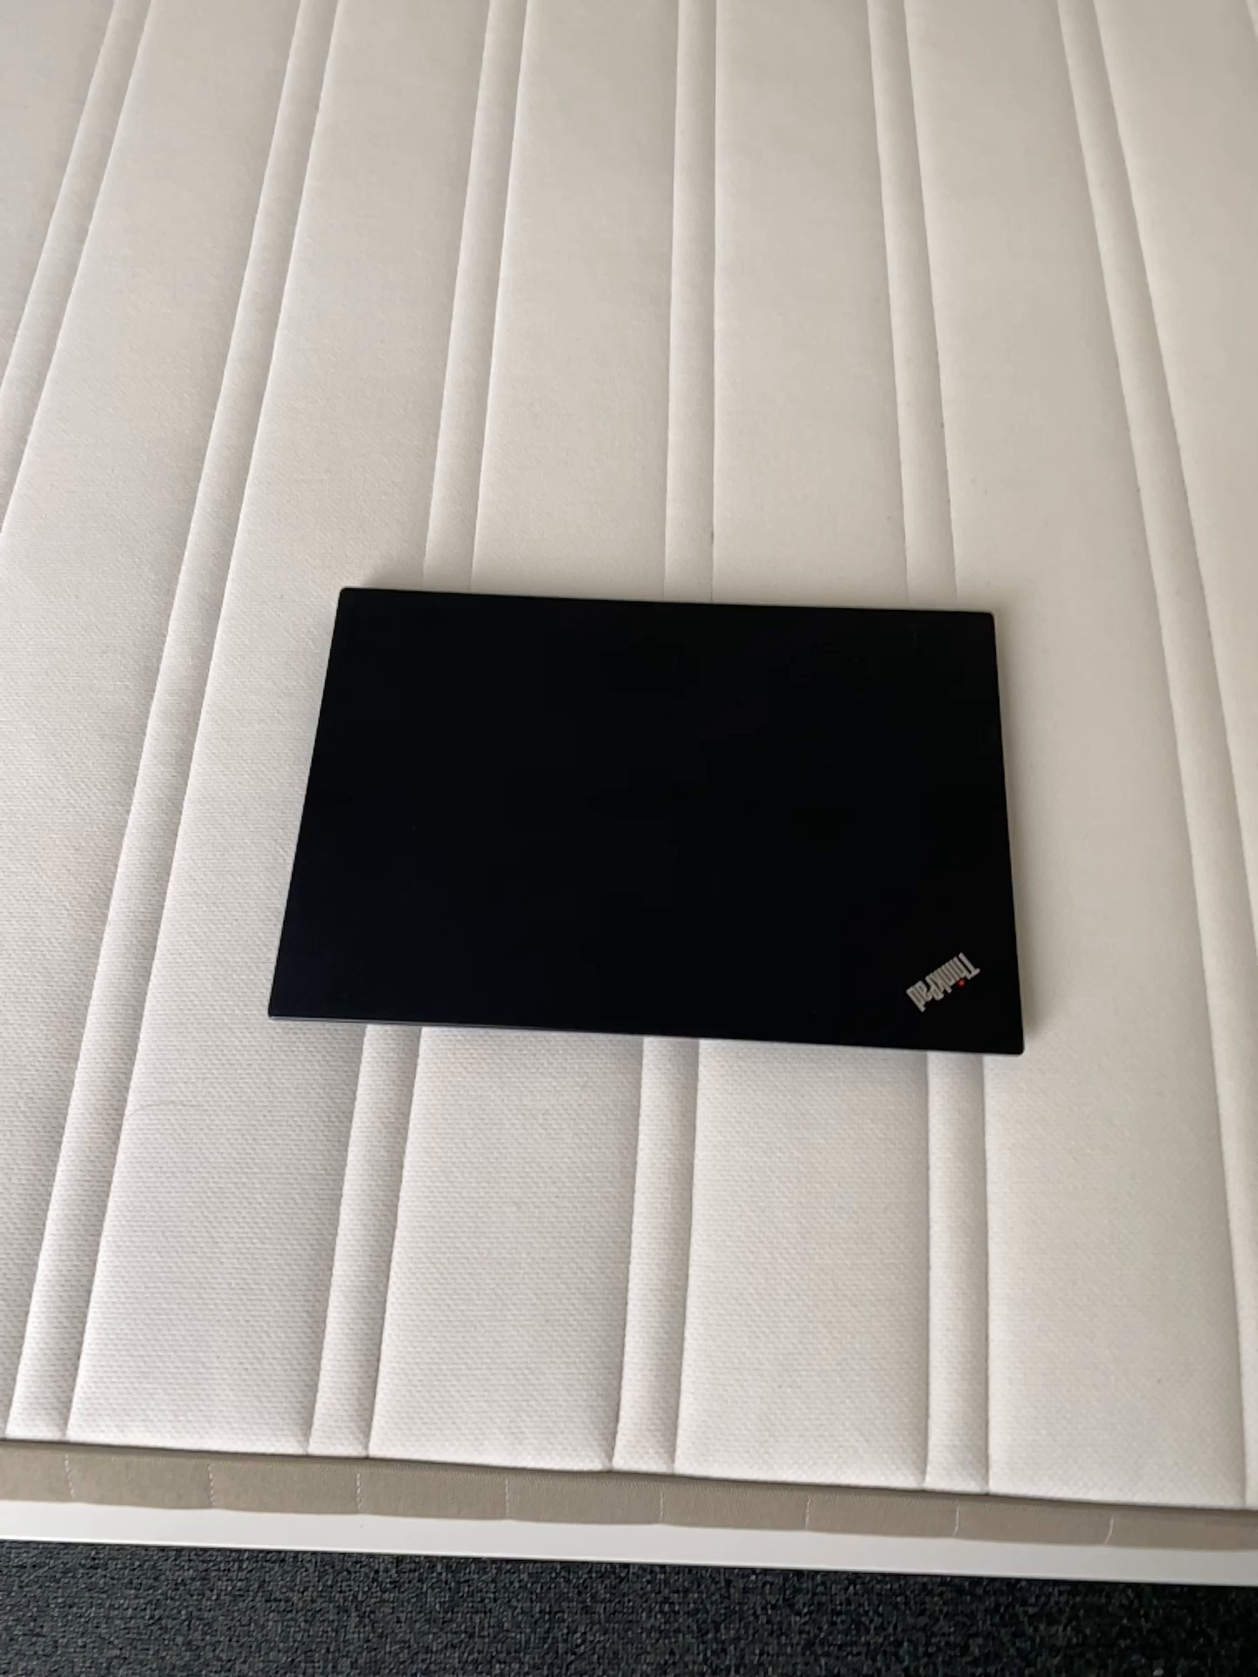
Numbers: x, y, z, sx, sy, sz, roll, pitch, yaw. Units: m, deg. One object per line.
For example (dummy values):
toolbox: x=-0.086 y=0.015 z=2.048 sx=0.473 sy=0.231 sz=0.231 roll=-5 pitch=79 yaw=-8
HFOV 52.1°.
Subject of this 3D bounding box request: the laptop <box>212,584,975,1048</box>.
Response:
laptop: x=-0.010 y=-0.019 z=0.602 sx=0.325 sy=0.012 sz=0.226 roll=2 pitch=64 yaw=2
